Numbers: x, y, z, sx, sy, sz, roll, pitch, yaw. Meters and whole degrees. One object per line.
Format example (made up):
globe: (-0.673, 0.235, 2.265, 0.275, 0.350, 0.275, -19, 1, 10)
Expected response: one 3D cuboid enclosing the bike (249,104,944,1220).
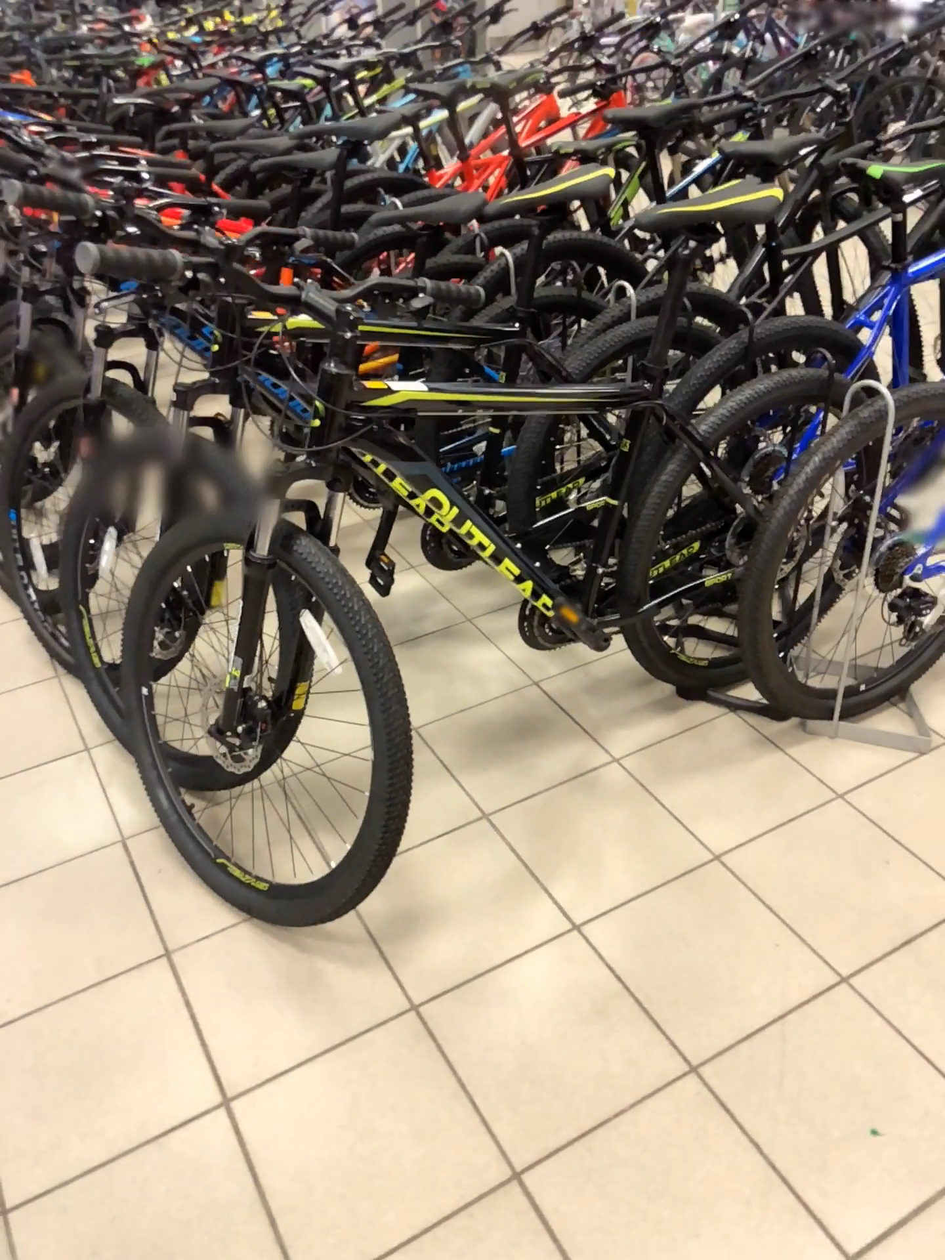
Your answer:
bike: (0.360, -0.147, 1.679, 1.357, 1.044, 0.663, -27, 40, -31)
